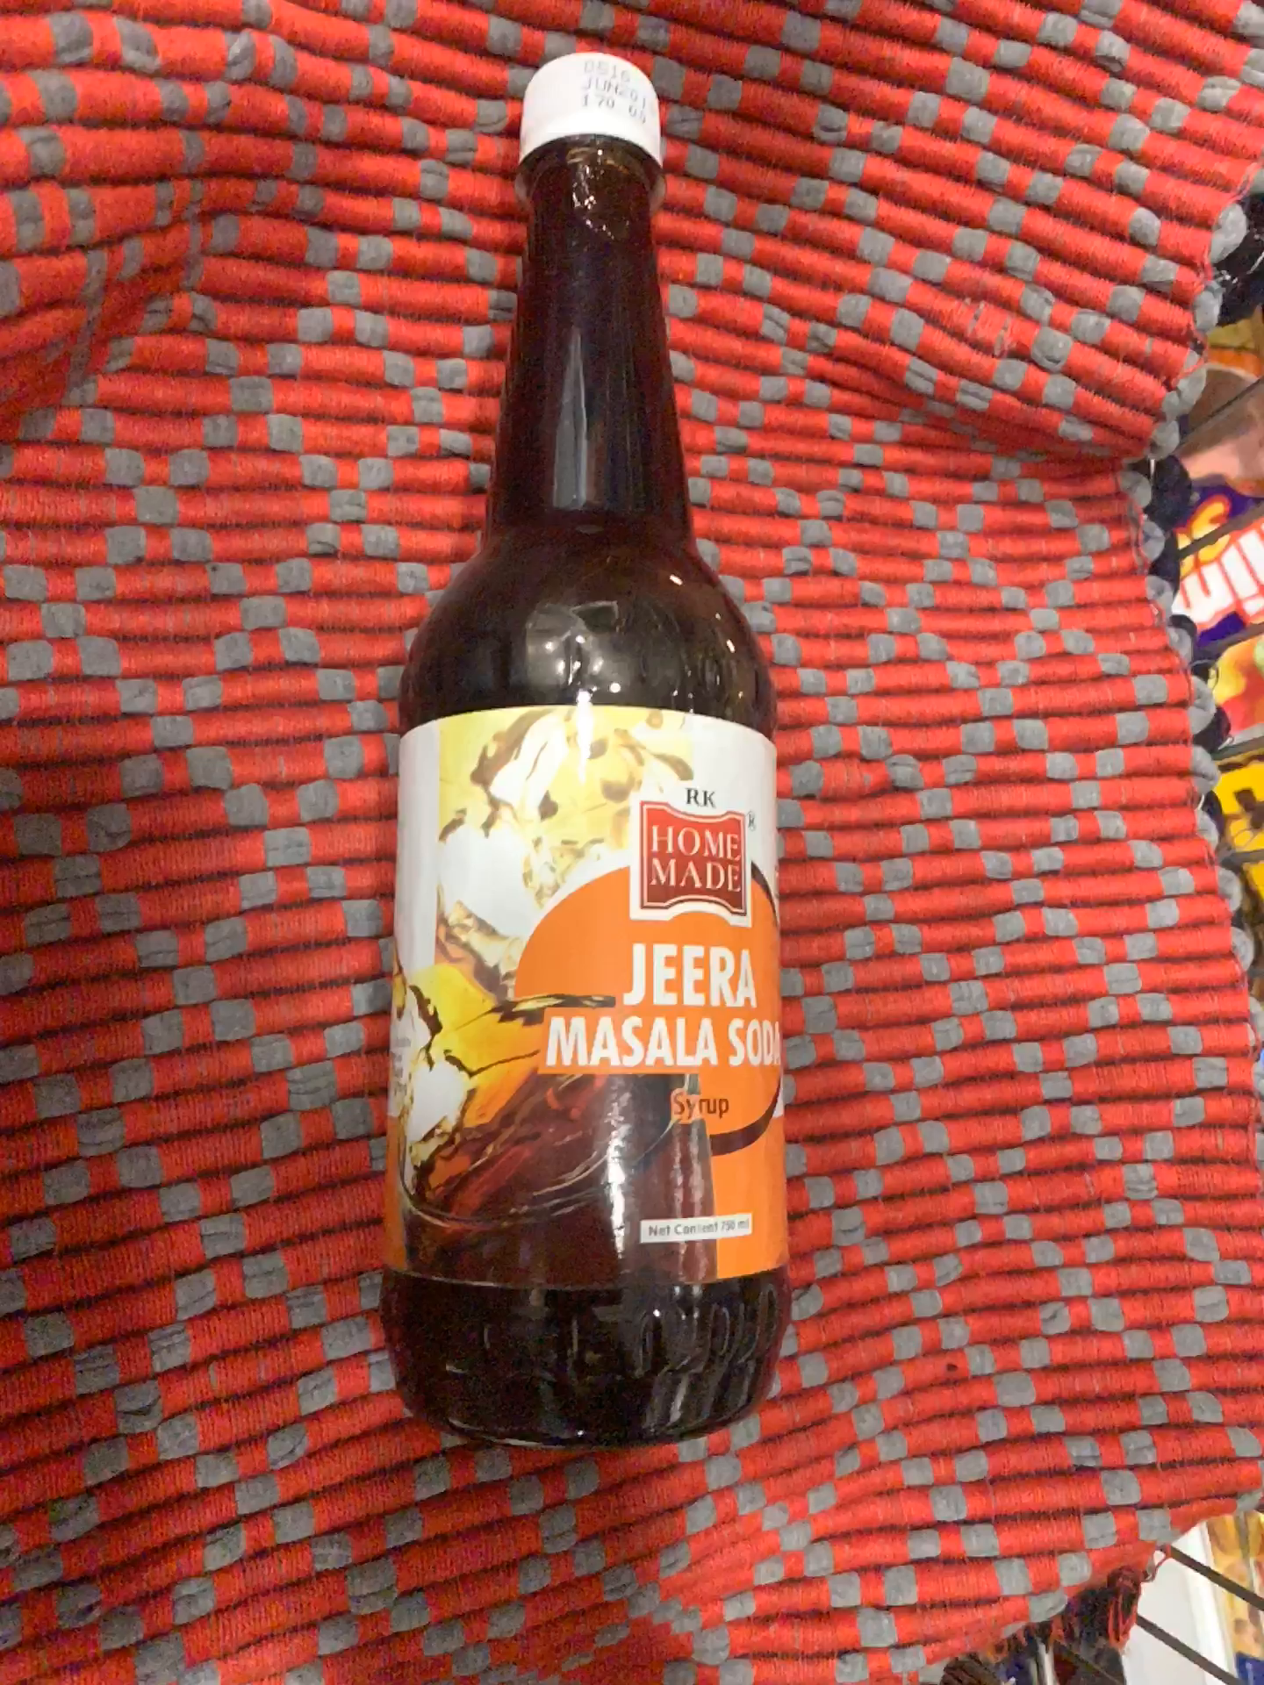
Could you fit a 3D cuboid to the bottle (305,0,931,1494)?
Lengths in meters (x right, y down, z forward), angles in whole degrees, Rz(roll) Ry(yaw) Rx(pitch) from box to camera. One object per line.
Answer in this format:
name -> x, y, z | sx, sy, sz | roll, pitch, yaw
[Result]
bottle -> -0.007, -0.031, 0.248 | 0.080, 0.070, 0.260 | 7, 75, -34
